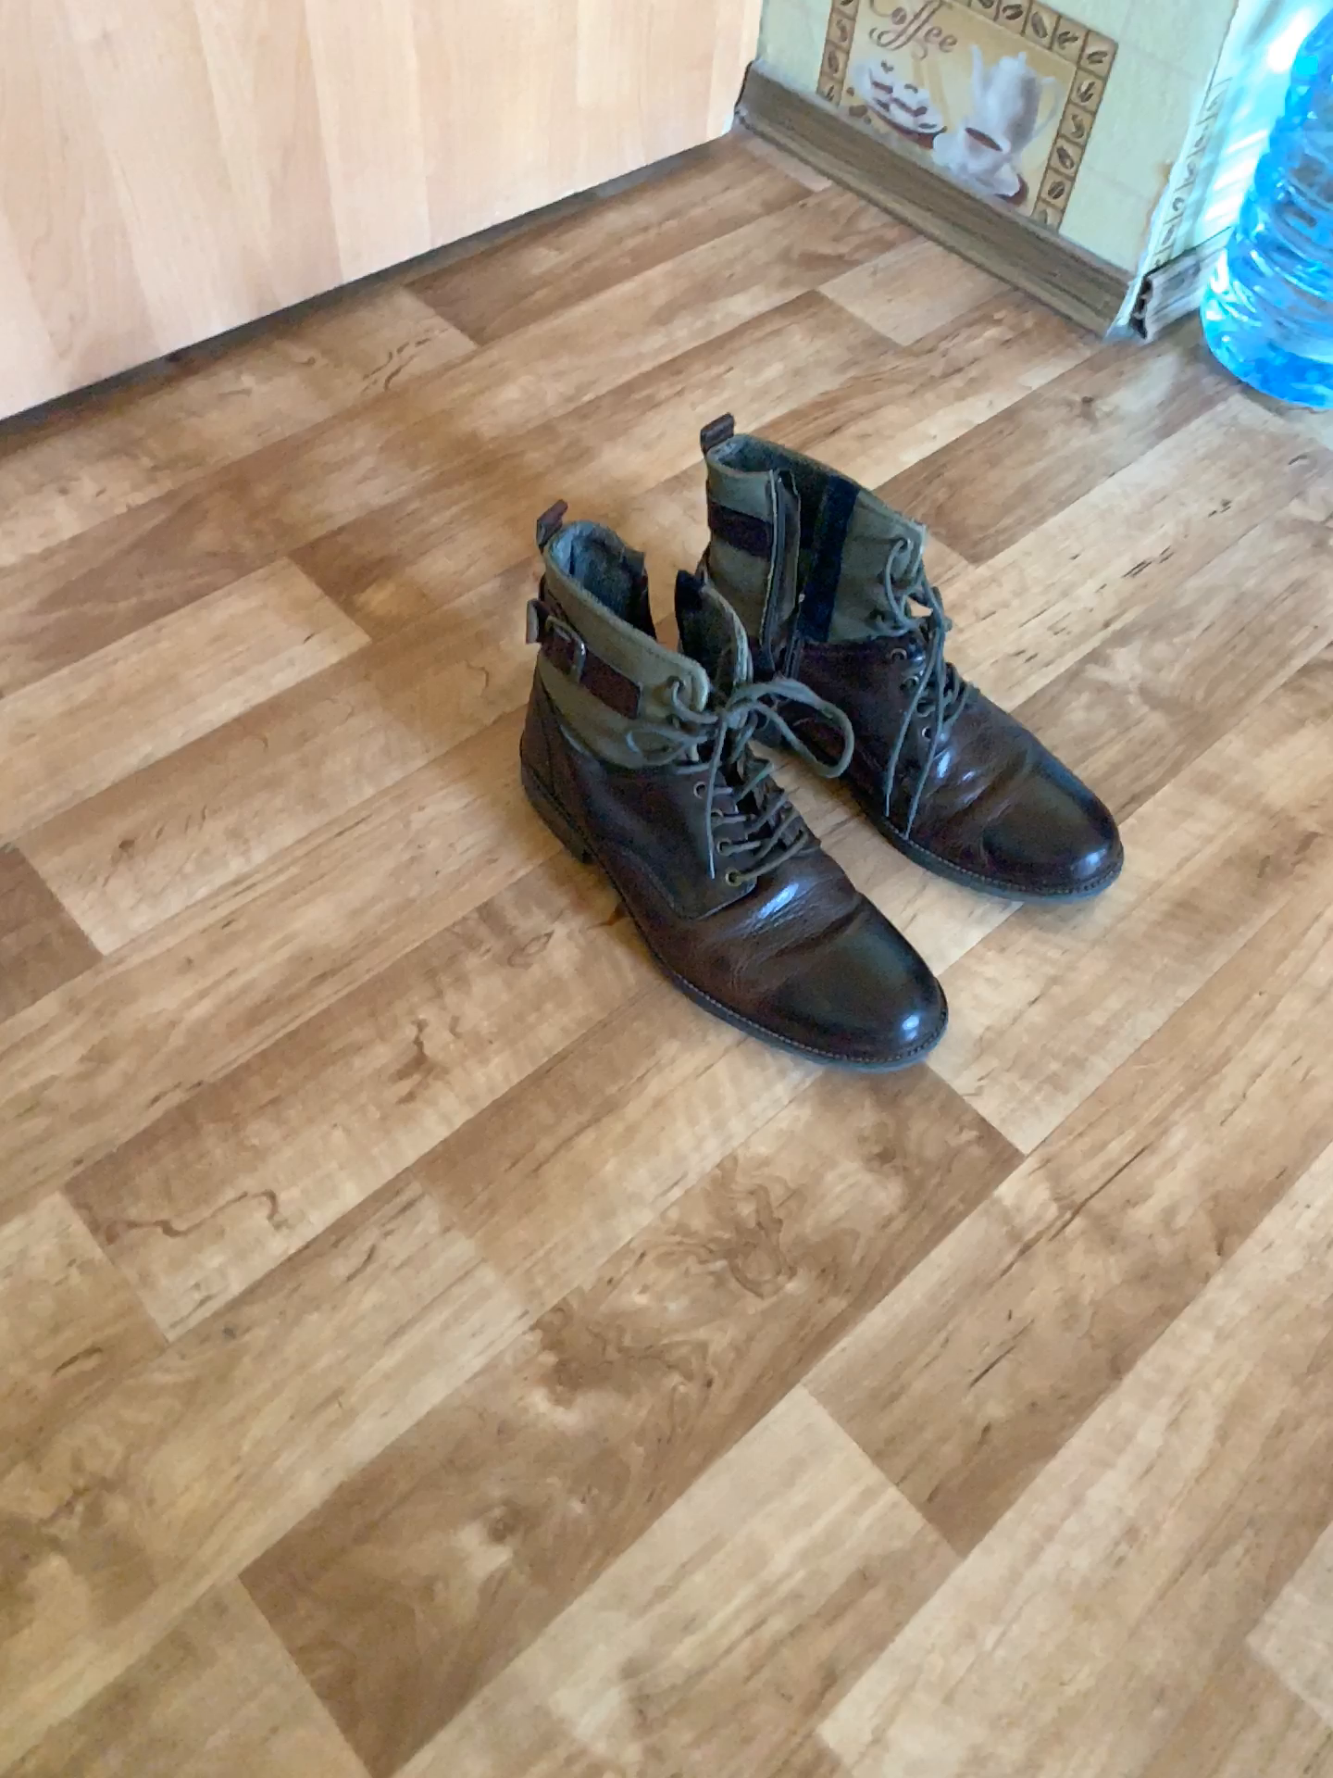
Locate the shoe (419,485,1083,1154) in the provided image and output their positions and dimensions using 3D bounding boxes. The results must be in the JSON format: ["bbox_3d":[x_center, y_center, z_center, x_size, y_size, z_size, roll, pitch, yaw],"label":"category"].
[{"bbox_3d":[0.026,-0.039,0.677,0.310,0.150,0.110,41,62,21],"label":"shoe"}]

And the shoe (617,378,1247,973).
[{"bbox_3d":[0.125,-0.121,0.747,0.310,0.150,0.110,39,62,20],"label":"shoe"}]
